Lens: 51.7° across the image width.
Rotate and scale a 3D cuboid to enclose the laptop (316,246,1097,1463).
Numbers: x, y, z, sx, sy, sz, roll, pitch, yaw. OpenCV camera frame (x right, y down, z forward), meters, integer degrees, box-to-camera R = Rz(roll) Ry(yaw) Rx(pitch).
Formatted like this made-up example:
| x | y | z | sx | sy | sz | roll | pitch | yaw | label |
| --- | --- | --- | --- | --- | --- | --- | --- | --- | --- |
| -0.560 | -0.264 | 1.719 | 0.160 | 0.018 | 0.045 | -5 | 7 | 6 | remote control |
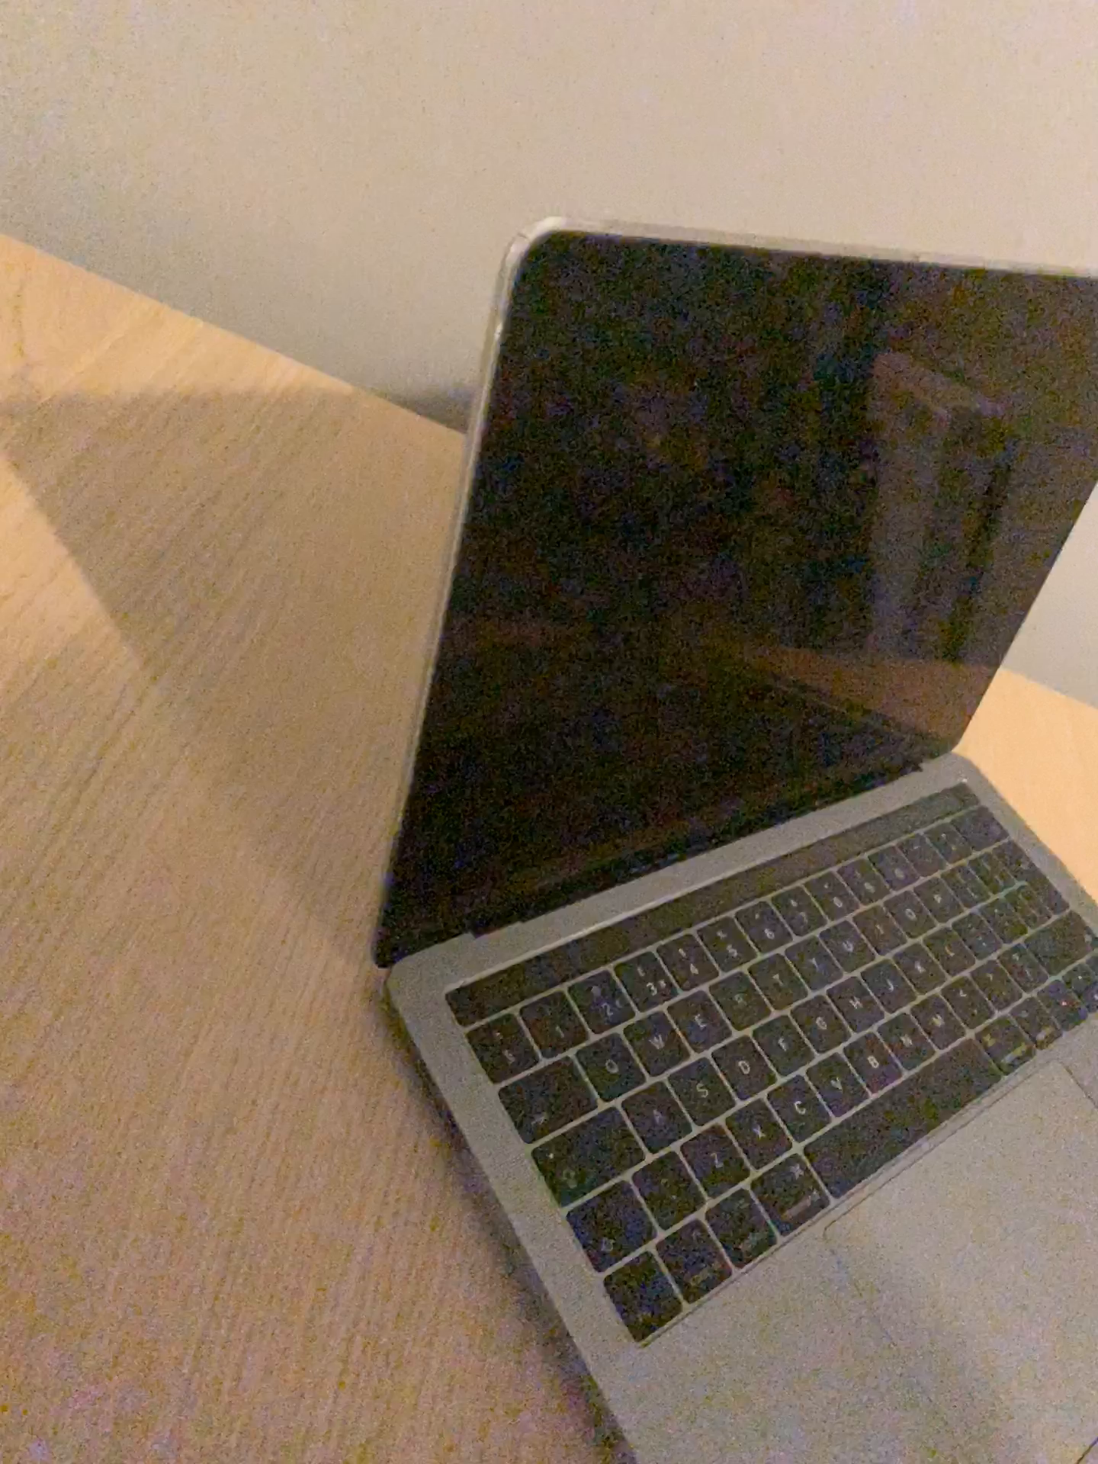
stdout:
| x | y | z | sx | sy | sz | roll | pitch | yaw | label |
| --- | --- | --- | --- | --- | --- | --- | --- | --- | --- |
| 0.143 | 0.036 | 0.319 | 0.295 | 0.197 | 0.257 | -14 | 58 | -37 | laptop |
